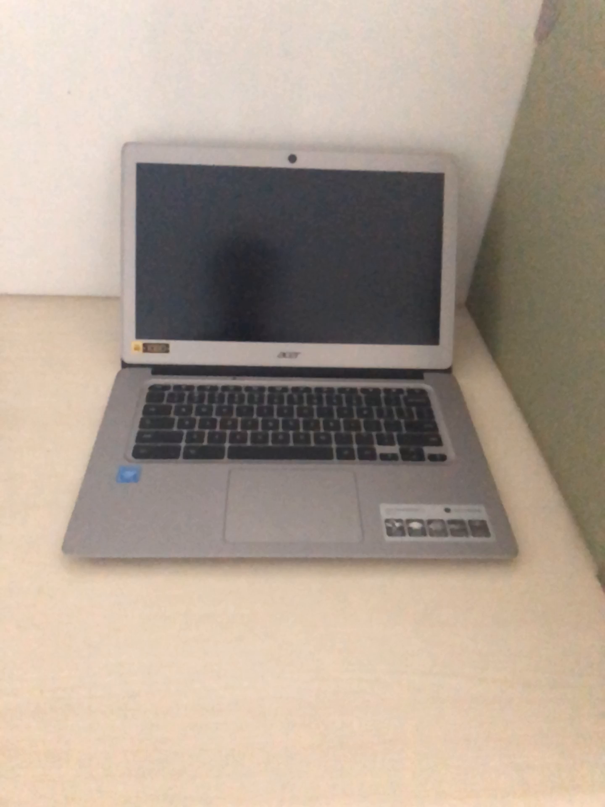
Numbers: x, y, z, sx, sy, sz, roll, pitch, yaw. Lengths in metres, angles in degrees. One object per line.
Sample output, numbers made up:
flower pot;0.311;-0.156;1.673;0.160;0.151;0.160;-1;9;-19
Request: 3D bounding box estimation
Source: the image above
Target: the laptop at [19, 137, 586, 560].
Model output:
laptop;-0.008;-0.073;0.566;0.322;0.168;0.368;2;39;-4
